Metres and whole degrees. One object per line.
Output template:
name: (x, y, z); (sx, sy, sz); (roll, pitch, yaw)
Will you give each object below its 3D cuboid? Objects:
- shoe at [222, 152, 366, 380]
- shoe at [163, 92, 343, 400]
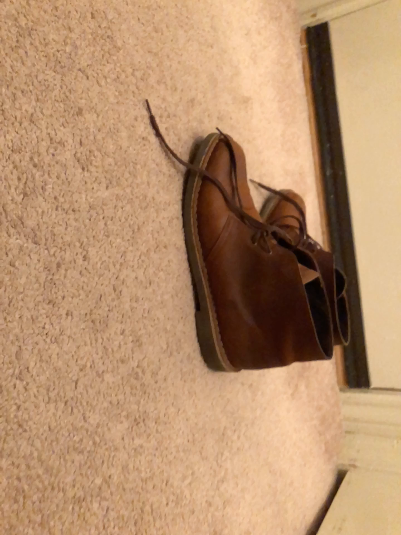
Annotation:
shoe: (0.148, -0.007, 0.653); (0.110, 0.138, 0.304); (50, 46, -43)
shoe: (0.066, -0.019, 0.522); (0.111, 0.138, 0.303); (-13, 96, -58)
